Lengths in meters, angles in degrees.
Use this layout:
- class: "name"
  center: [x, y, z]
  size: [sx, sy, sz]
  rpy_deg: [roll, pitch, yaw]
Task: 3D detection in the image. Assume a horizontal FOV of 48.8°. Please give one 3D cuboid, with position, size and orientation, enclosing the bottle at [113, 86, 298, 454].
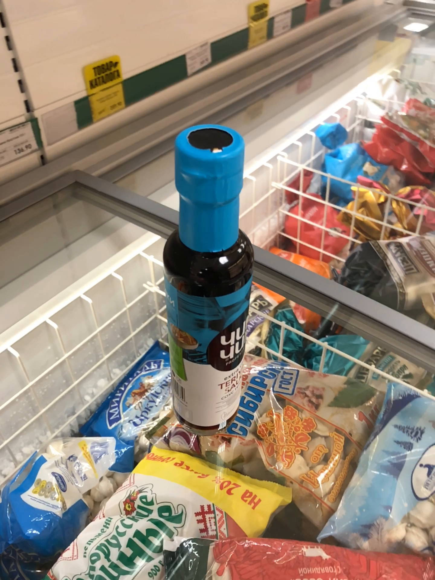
- class: "bottle"
  center: [-0.005, 0.004, 0.289]
  size: [0.060, 0.219, 0.060]
  rpy_deg: [0, 42, 0]
